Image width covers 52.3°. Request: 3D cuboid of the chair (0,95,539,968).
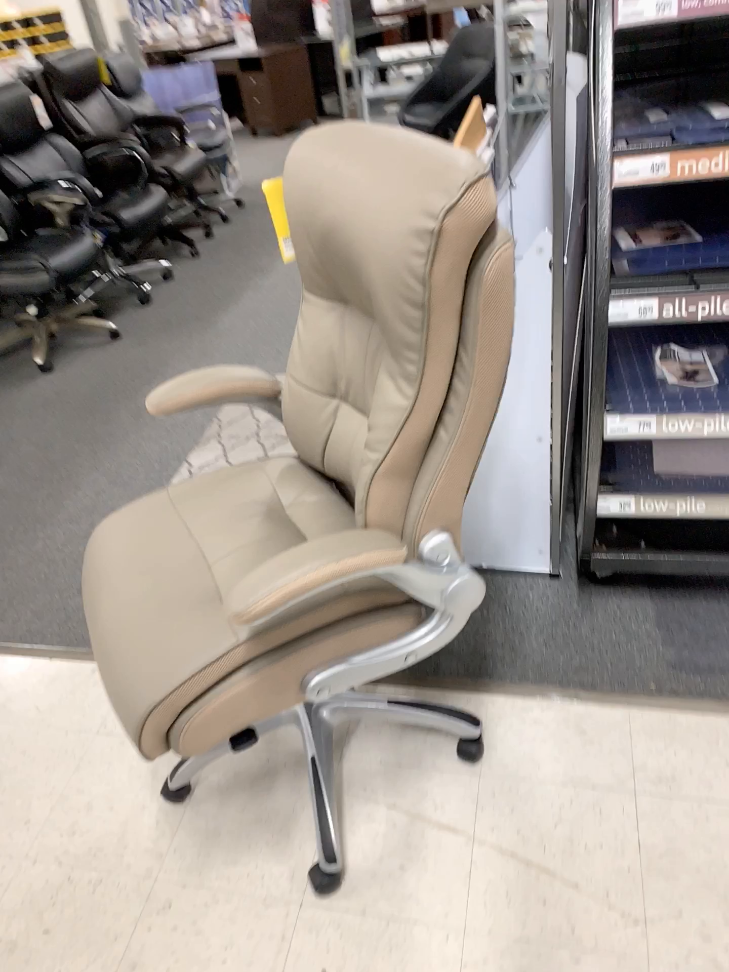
[{"bbox_3d":[-0.213,0.053,1.294,0.720,1.144,0.714,-21,36,-15],"label":"chair"}]
